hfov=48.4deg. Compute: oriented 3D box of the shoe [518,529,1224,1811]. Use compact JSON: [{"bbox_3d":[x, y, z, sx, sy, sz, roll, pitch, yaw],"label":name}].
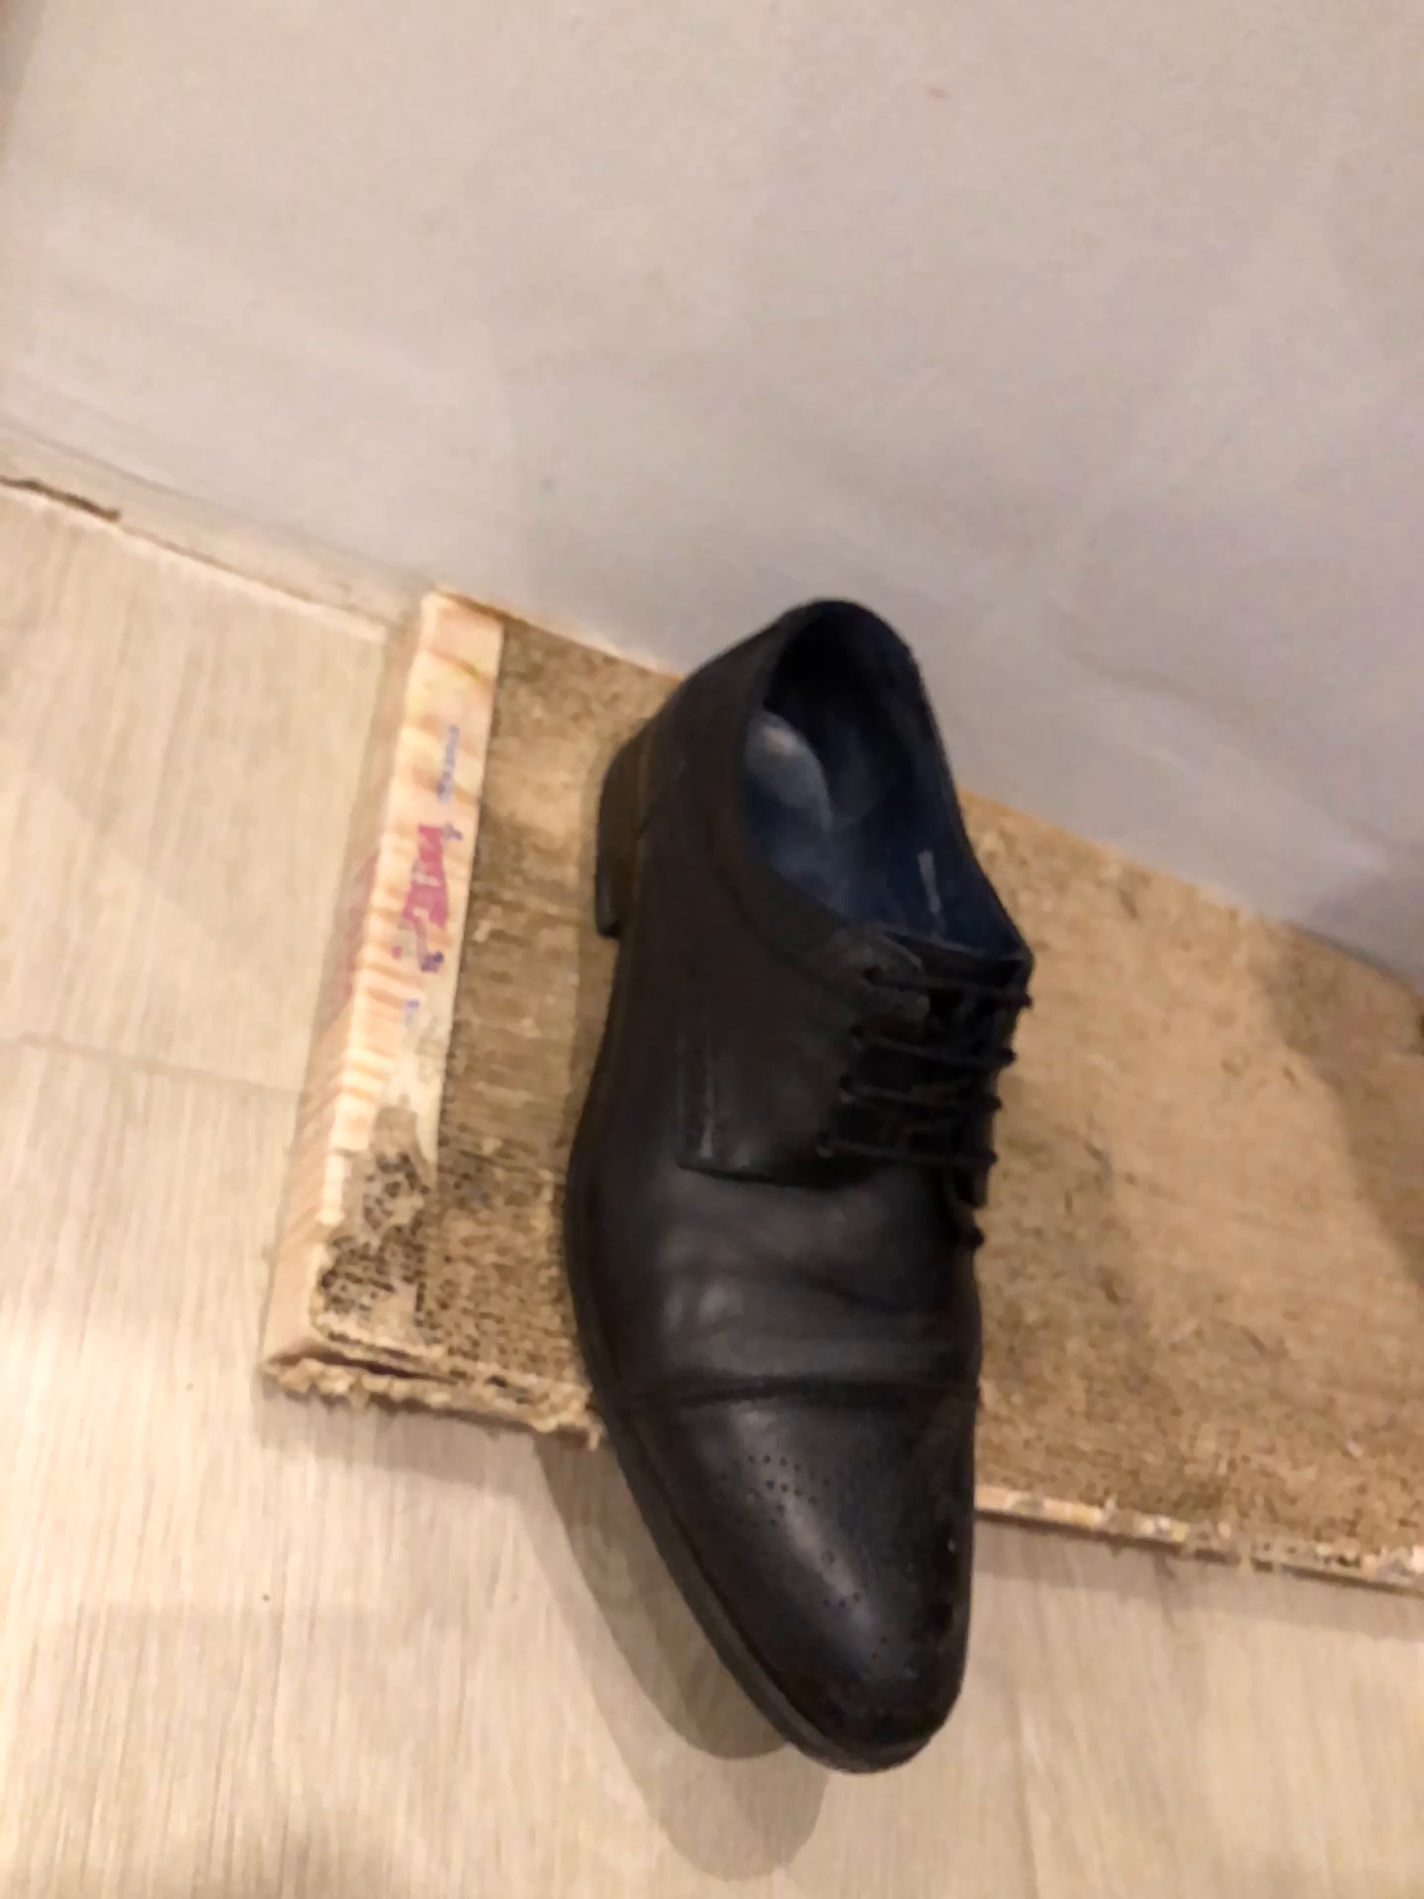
[{"bbox_3d":[0.022,0.047,0.394,0.090,0.099,0.281,10,58,-31],"label":"shoe"}]
